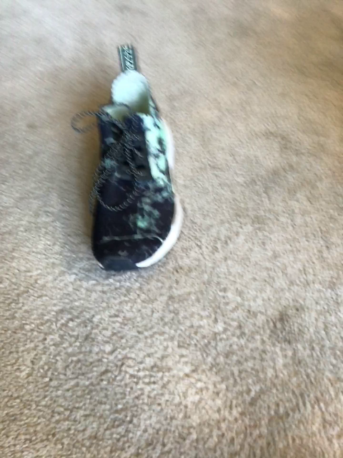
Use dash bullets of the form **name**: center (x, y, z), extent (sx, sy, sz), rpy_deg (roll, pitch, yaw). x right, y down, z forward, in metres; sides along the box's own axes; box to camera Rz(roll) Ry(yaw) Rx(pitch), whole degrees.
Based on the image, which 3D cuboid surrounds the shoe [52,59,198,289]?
- **shoe**: center (-0.039, -0.080, 0.458), extent (0.131, 0.100, 0.288), rpy_deg (0, 55, 1)
